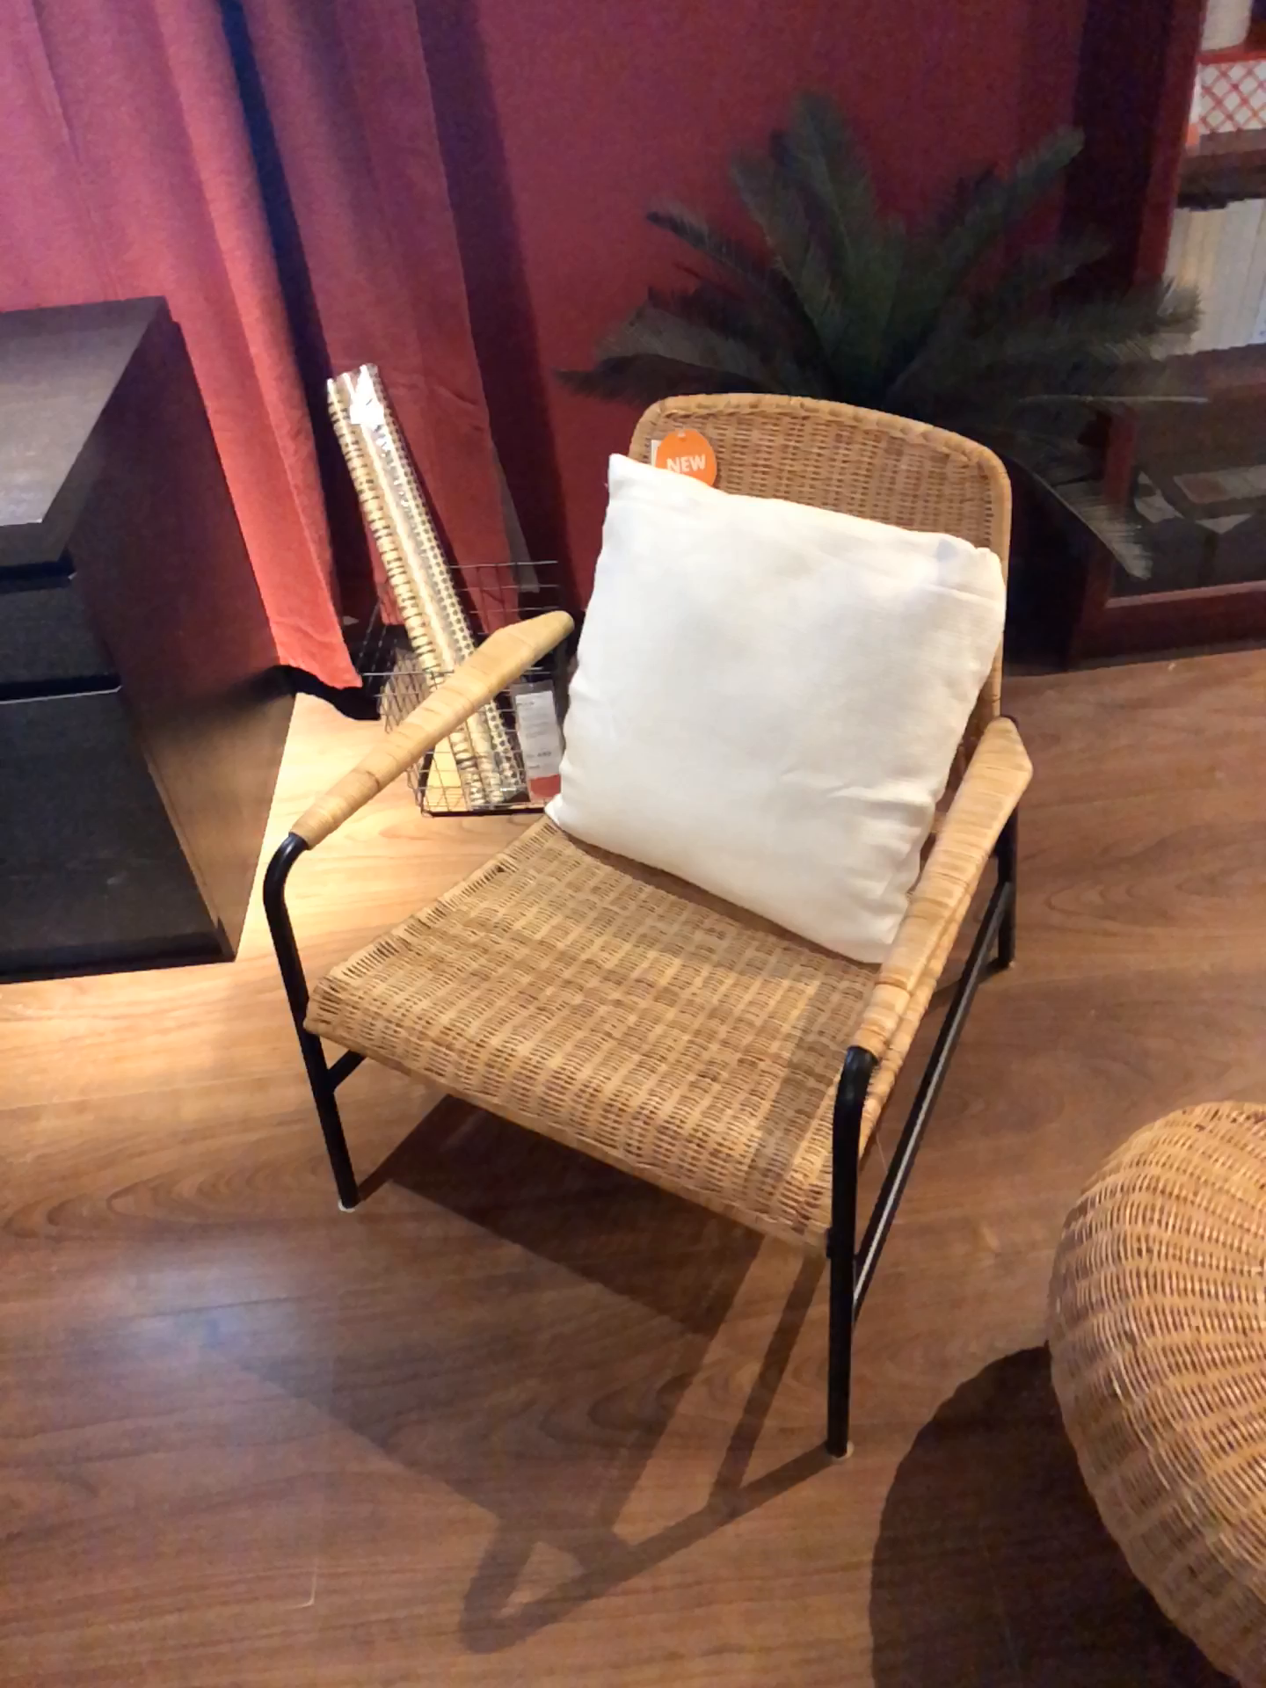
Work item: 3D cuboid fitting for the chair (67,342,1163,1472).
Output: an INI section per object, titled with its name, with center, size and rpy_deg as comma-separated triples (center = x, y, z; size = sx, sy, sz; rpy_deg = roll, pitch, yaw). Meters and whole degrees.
[chair]
center = 0.043, 0.013, 1.376
size = 0.671, 0.705, 0.663
rpy_deg = 17, 46, 25
